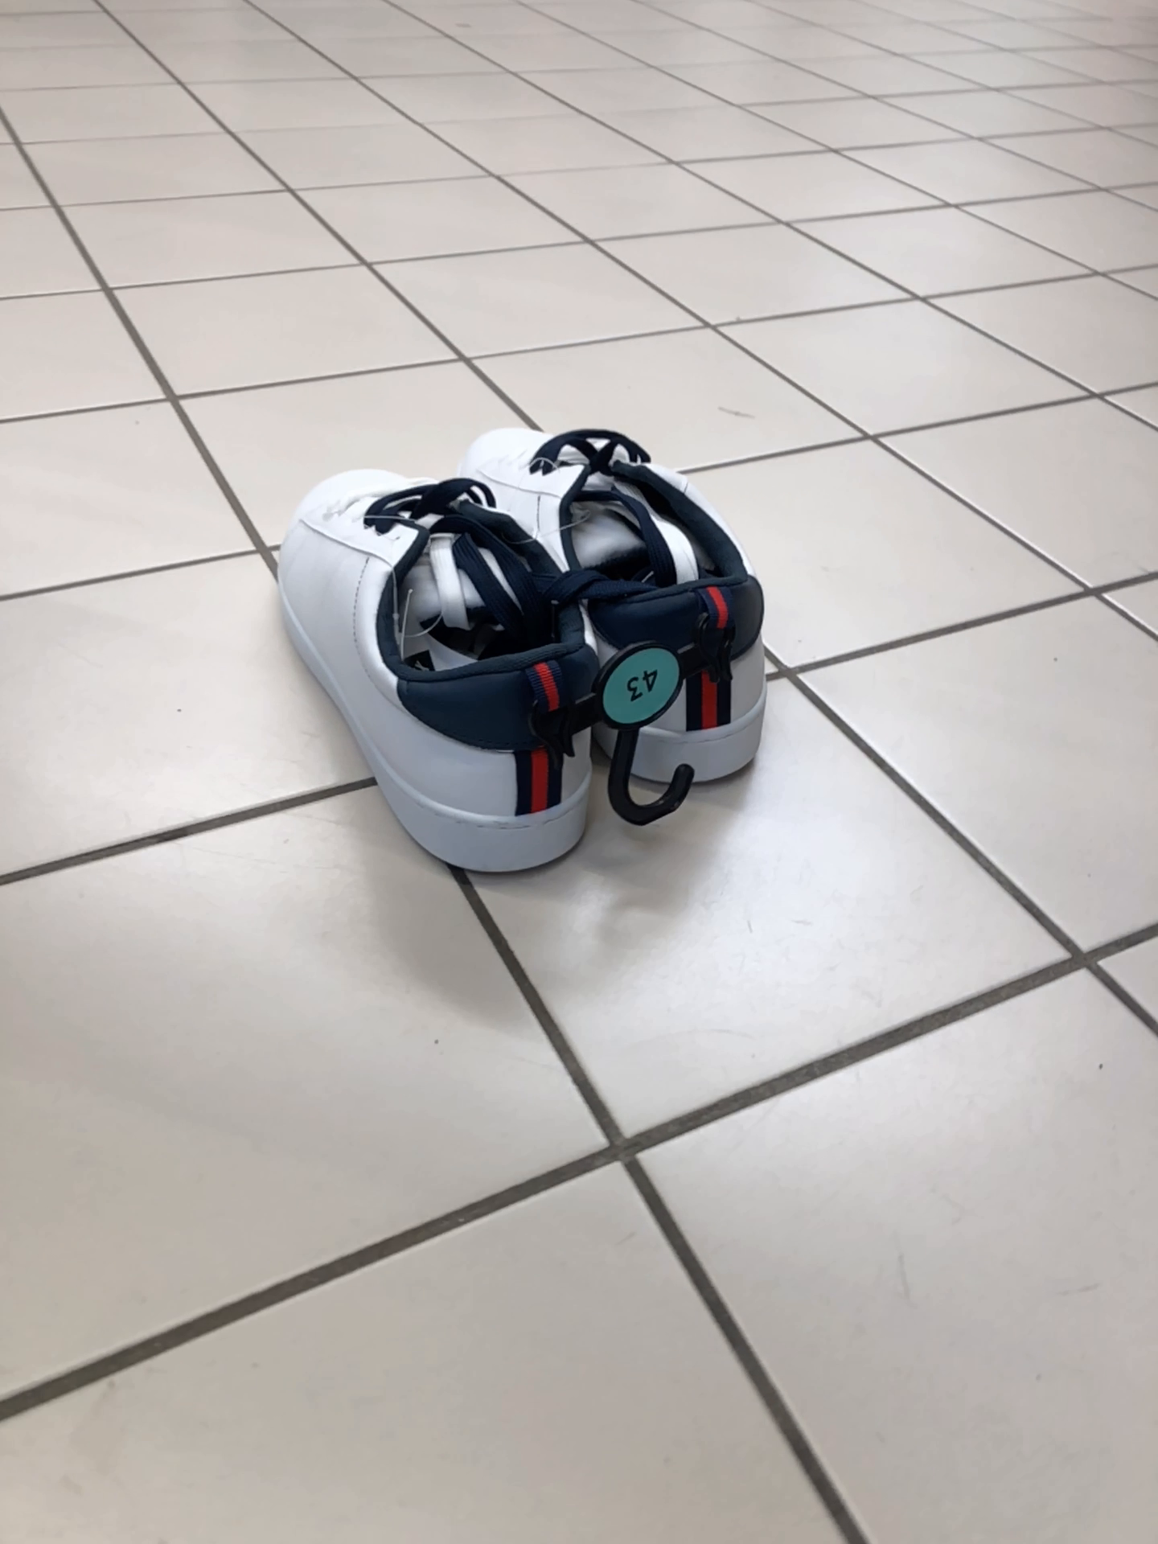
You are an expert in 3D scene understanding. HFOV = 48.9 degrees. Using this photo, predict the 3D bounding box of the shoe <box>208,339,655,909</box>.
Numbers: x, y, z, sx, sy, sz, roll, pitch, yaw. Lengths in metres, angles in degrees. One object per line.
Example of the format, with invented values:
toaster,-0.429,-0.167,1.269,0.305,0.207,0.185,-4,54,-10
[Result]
shoe,-0.079,-0.085,0.566,0.100,0.099,0.291,-13,42,-20

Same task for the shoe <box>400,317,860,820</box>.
shoe,0.006,-0.117,0.623,0.100,0.099,0.291,-13,42,-20
